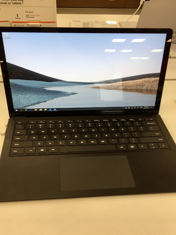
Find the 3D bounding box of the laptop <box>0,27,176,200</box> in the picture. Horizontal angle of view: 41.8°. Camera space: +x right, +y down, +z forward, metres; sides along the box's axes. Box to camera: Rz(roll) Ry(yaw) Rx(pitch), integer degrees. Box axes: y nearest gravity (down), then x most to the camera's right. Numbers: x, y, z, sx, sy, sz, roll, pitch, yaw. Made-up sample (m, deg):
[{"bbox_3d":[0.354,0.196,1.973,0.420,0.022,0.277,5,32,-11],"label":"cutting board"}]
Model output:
[{"bbox_3d":[0.009,-0.024,0.418,0.344,0.188,0.274,-2,43,-5],"label":"laptop"}]
